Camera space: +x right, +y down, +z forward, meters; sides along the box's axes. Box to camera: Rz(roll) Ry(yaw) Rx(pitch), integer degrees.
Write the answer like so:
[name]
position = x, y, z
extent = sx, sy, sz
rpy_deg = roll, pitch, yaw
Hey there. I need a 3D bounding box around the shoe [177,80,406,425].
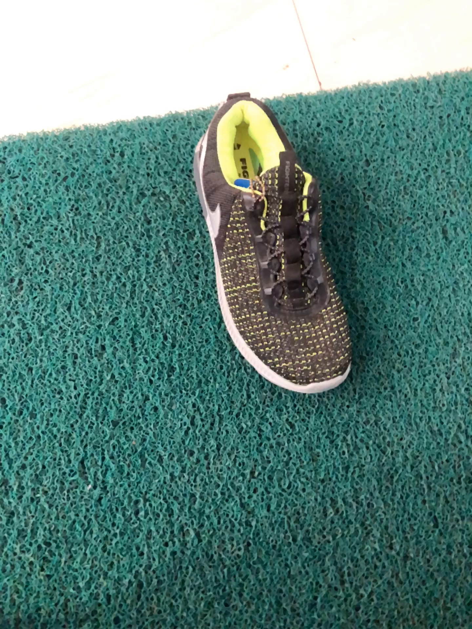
[shoe]
position = 0.034, -0.055, 0.453
extent = 0.110, 0.090, 0.270
rpy_deg = -13, 73, -9
